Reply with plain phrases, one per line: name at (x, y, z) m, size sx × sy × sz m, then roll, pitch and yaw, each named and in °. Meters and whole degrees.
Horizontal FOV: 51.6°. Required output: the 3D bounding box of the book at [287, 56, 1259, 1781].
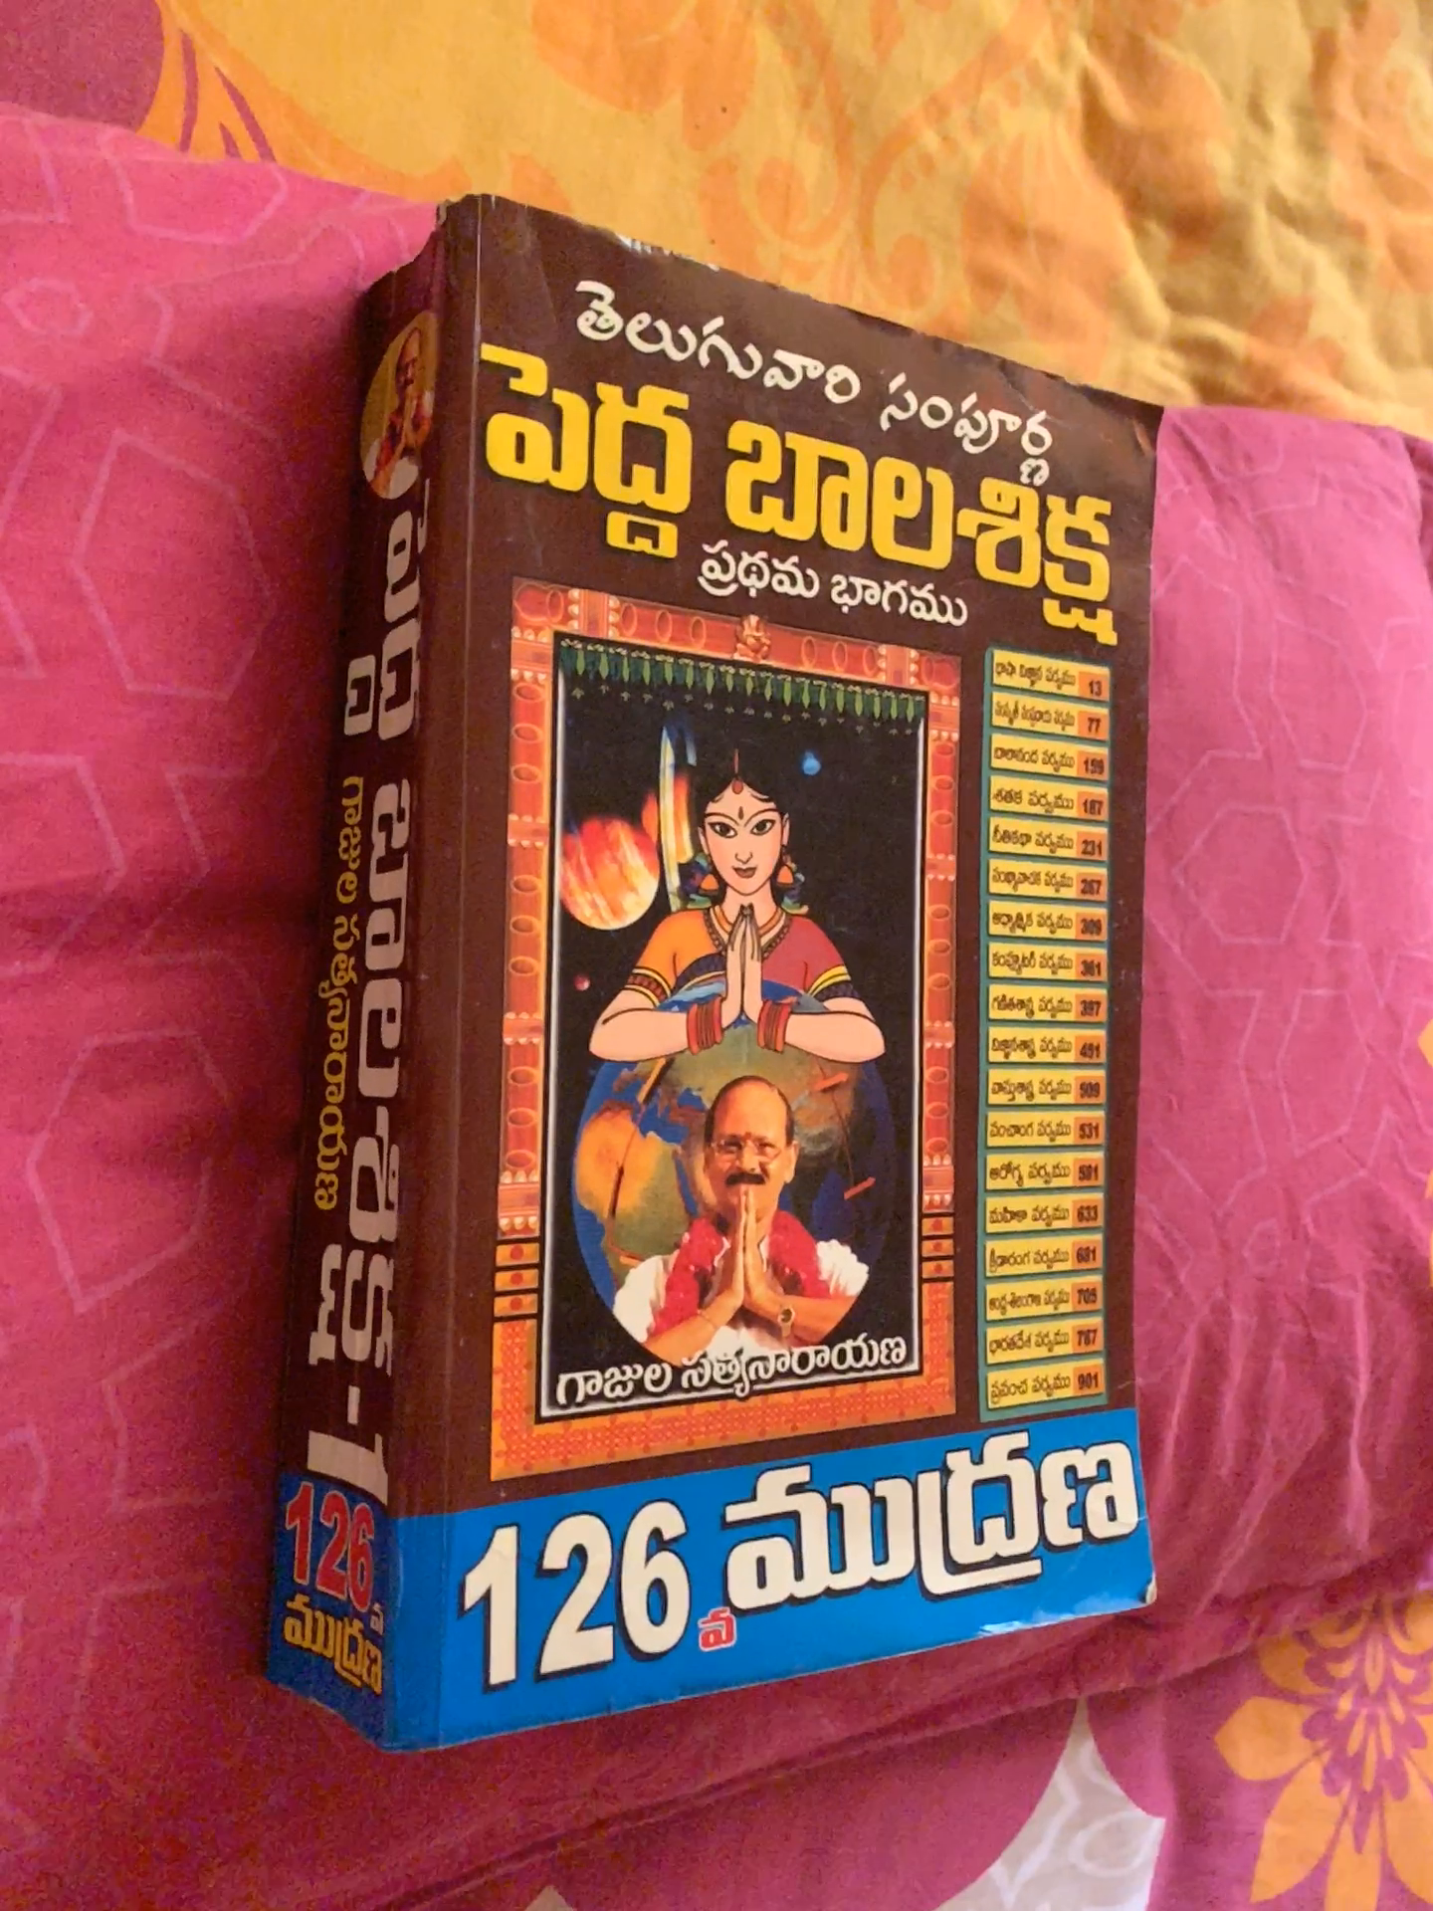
book at (0.020, -0.005, 0.287) m, size 0.181 × 0.050 × 0.260 m, roll 4°, pitch 84°, yaw -28°
